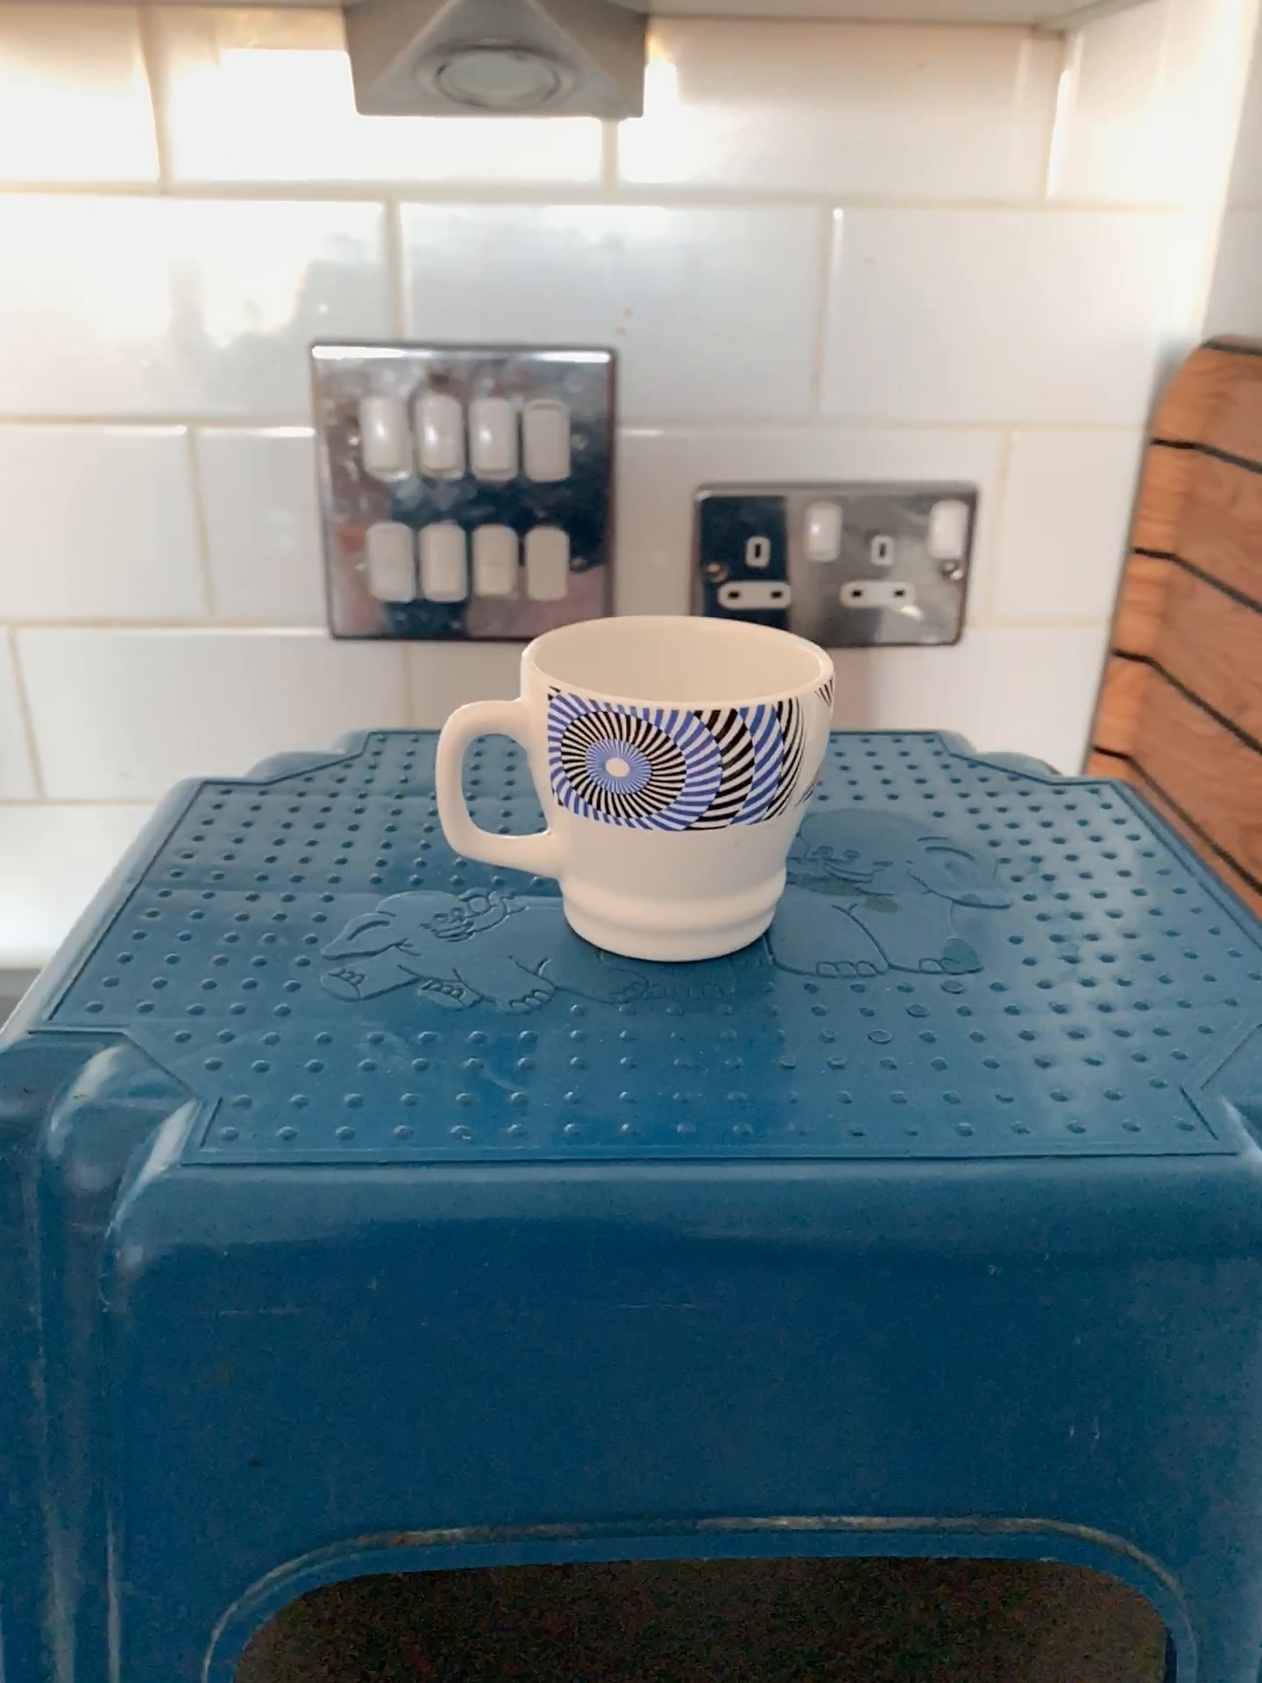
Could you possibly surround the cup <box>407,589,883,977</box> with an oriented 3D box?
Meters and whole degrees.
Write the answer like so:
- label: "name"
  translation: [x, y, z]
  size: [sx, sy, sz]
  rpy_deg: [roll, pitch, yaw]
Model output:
- label: "cup"
  translation: [0.002, -0.016, 0.282]
  size: [0.085, 0.055, 0.079]
  rpy_deg: [1, 25, 0]
